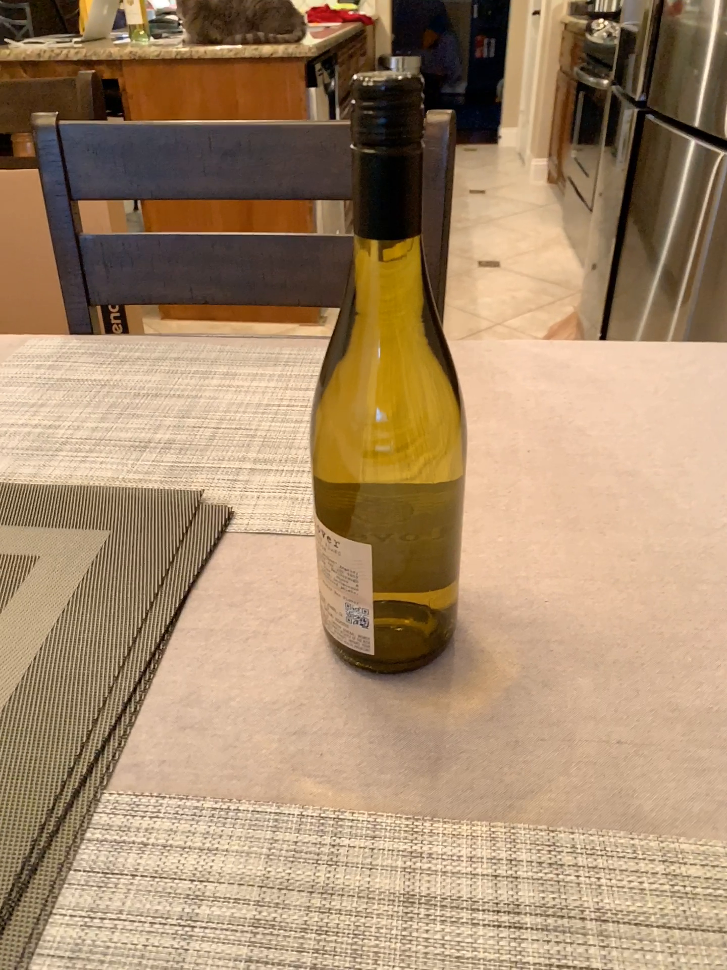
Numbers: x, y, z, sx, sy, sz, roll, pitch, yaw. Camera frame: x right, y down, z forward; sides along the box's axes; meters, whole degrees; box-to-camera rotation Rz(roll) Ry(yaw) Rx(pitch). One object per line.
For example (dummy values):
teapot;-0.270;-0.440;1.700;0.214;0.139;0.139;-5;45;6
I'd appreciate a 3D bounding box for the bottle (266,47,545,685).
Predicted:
bottle;0.024;-0.045;0.376;0.090;0.298;0.090;-1;34;1
